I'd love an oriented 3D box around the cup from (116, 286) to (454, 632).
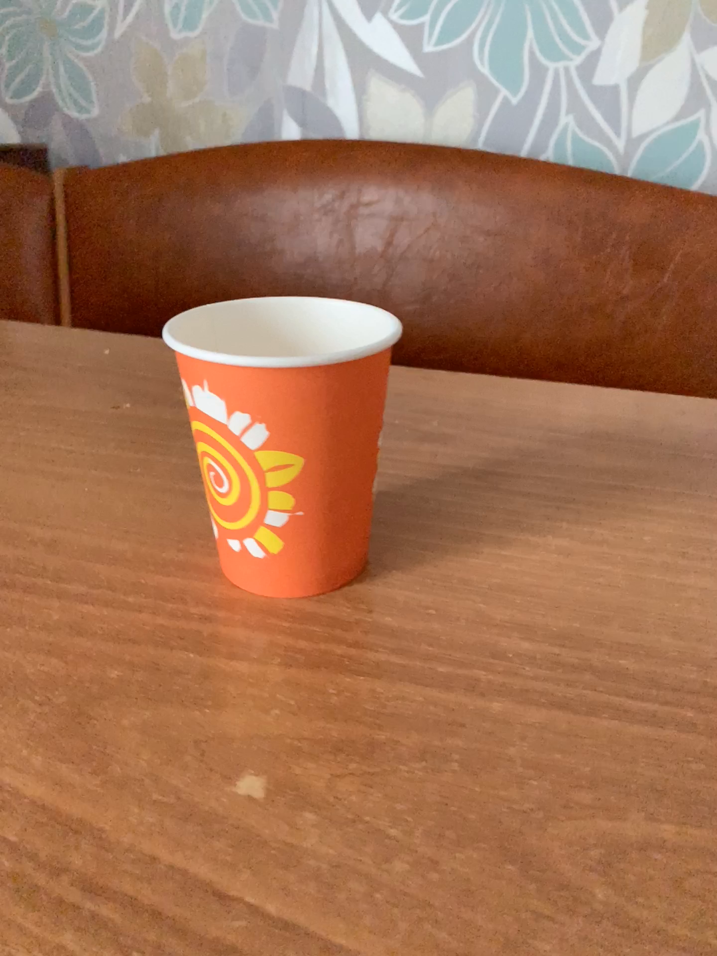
[{"bbox_3d":[-0.025,-0.015,0.265,0.079,0.083,0.082,0,26,0],"label":"cup"}]
